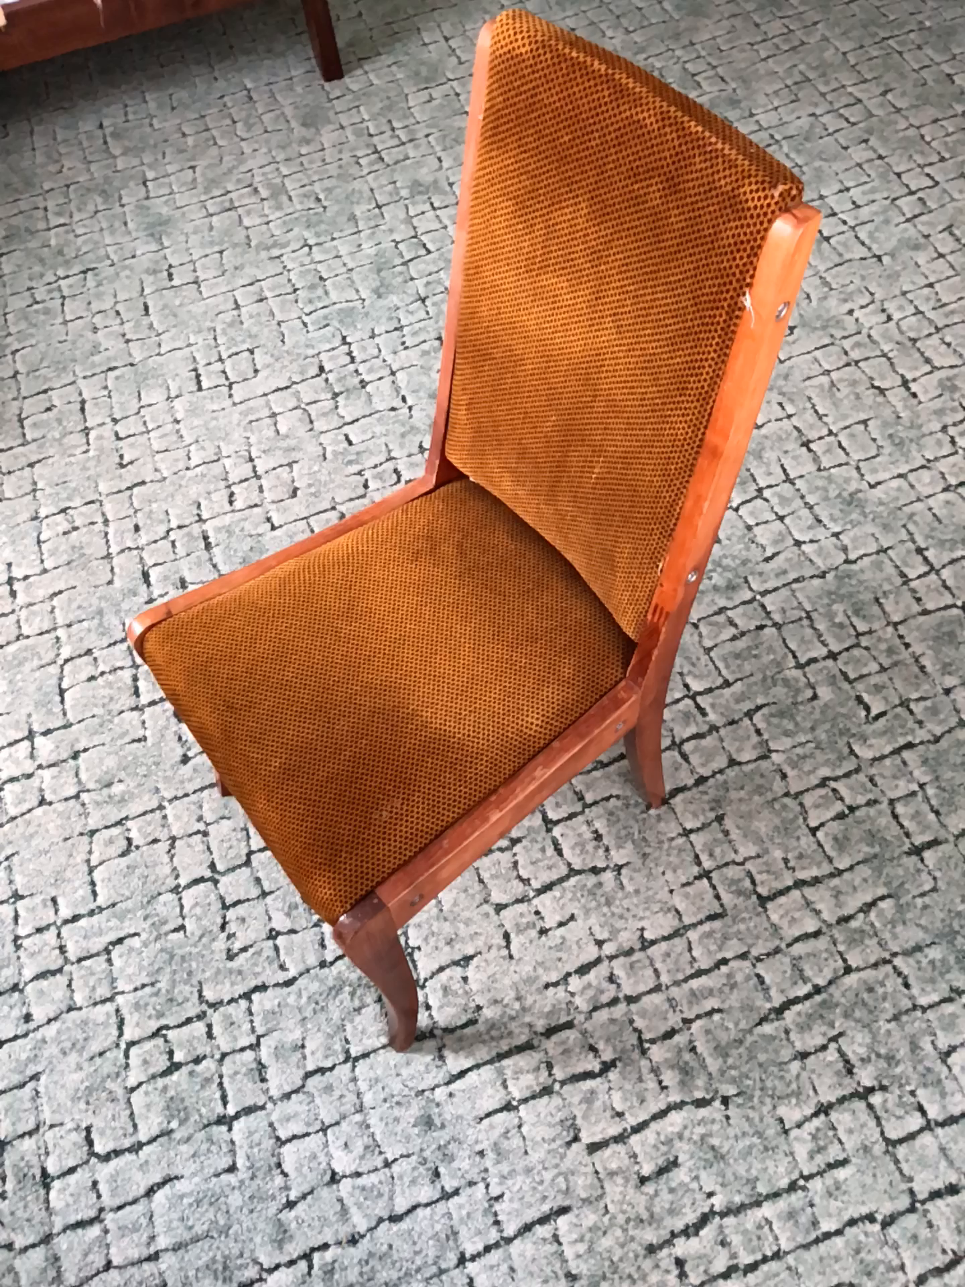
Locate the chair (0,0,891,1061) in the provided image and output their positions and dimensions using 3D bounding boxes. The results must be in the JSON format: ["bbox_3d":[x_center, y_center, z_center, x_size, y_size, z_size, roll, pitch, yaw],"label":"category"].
[{"bbox_3d":[-0.072,-0.041,1.058,0.529,0.925,0.472,-34,61,-15],"label":"chair"}]
